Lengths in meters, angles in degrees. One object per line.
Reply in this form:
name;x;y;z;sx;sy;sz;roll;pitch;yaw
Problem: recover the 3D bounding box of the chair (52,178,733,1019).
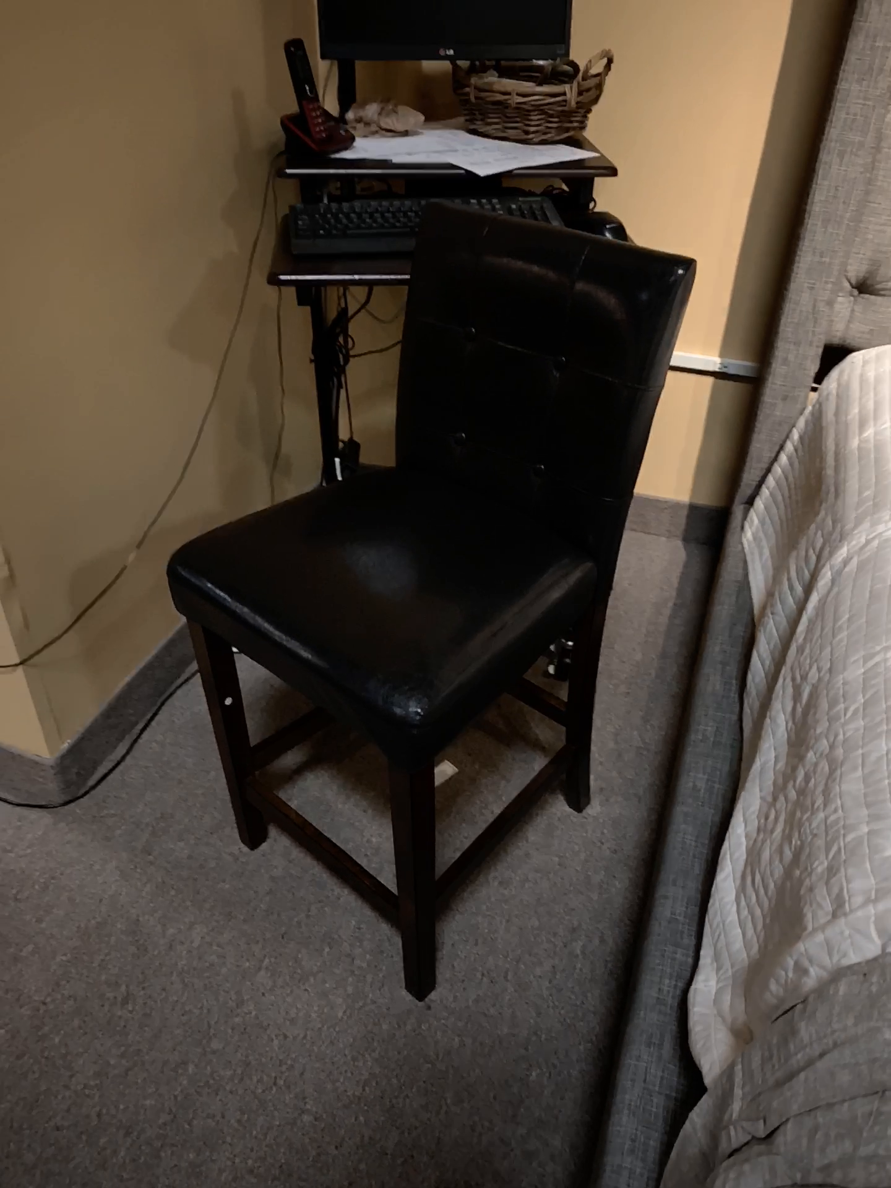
chair;-0.066;-0.010;1.286;0.559;0.912;0.519;29;44;32
